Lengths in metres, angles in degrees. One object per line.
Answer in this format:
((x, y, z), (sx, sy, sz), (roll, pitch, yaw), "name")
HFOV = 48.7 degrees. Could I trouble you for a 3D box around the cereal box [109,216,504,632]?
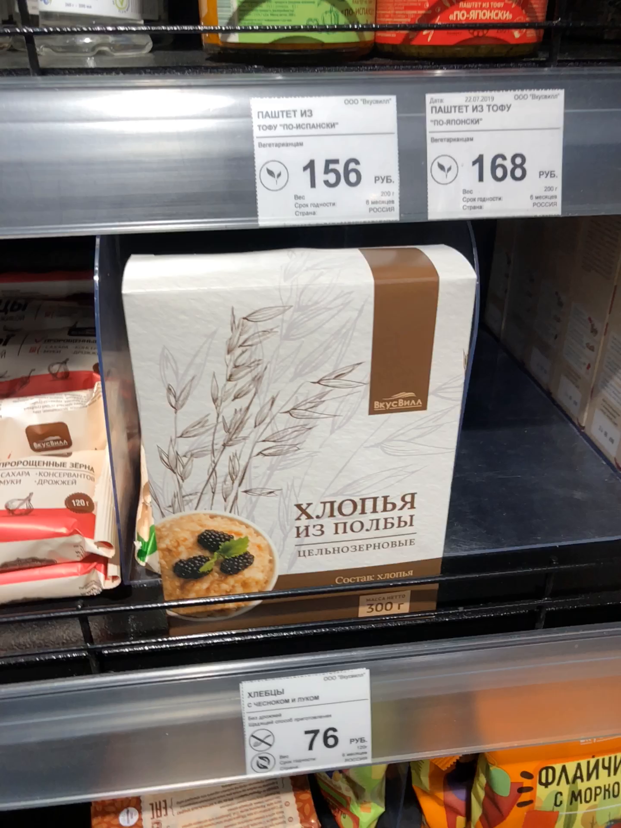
((-0.002, 0.010, 0.327), (0.150, 0.189, 0.050), (-4, 30, -6), "cereal box")
